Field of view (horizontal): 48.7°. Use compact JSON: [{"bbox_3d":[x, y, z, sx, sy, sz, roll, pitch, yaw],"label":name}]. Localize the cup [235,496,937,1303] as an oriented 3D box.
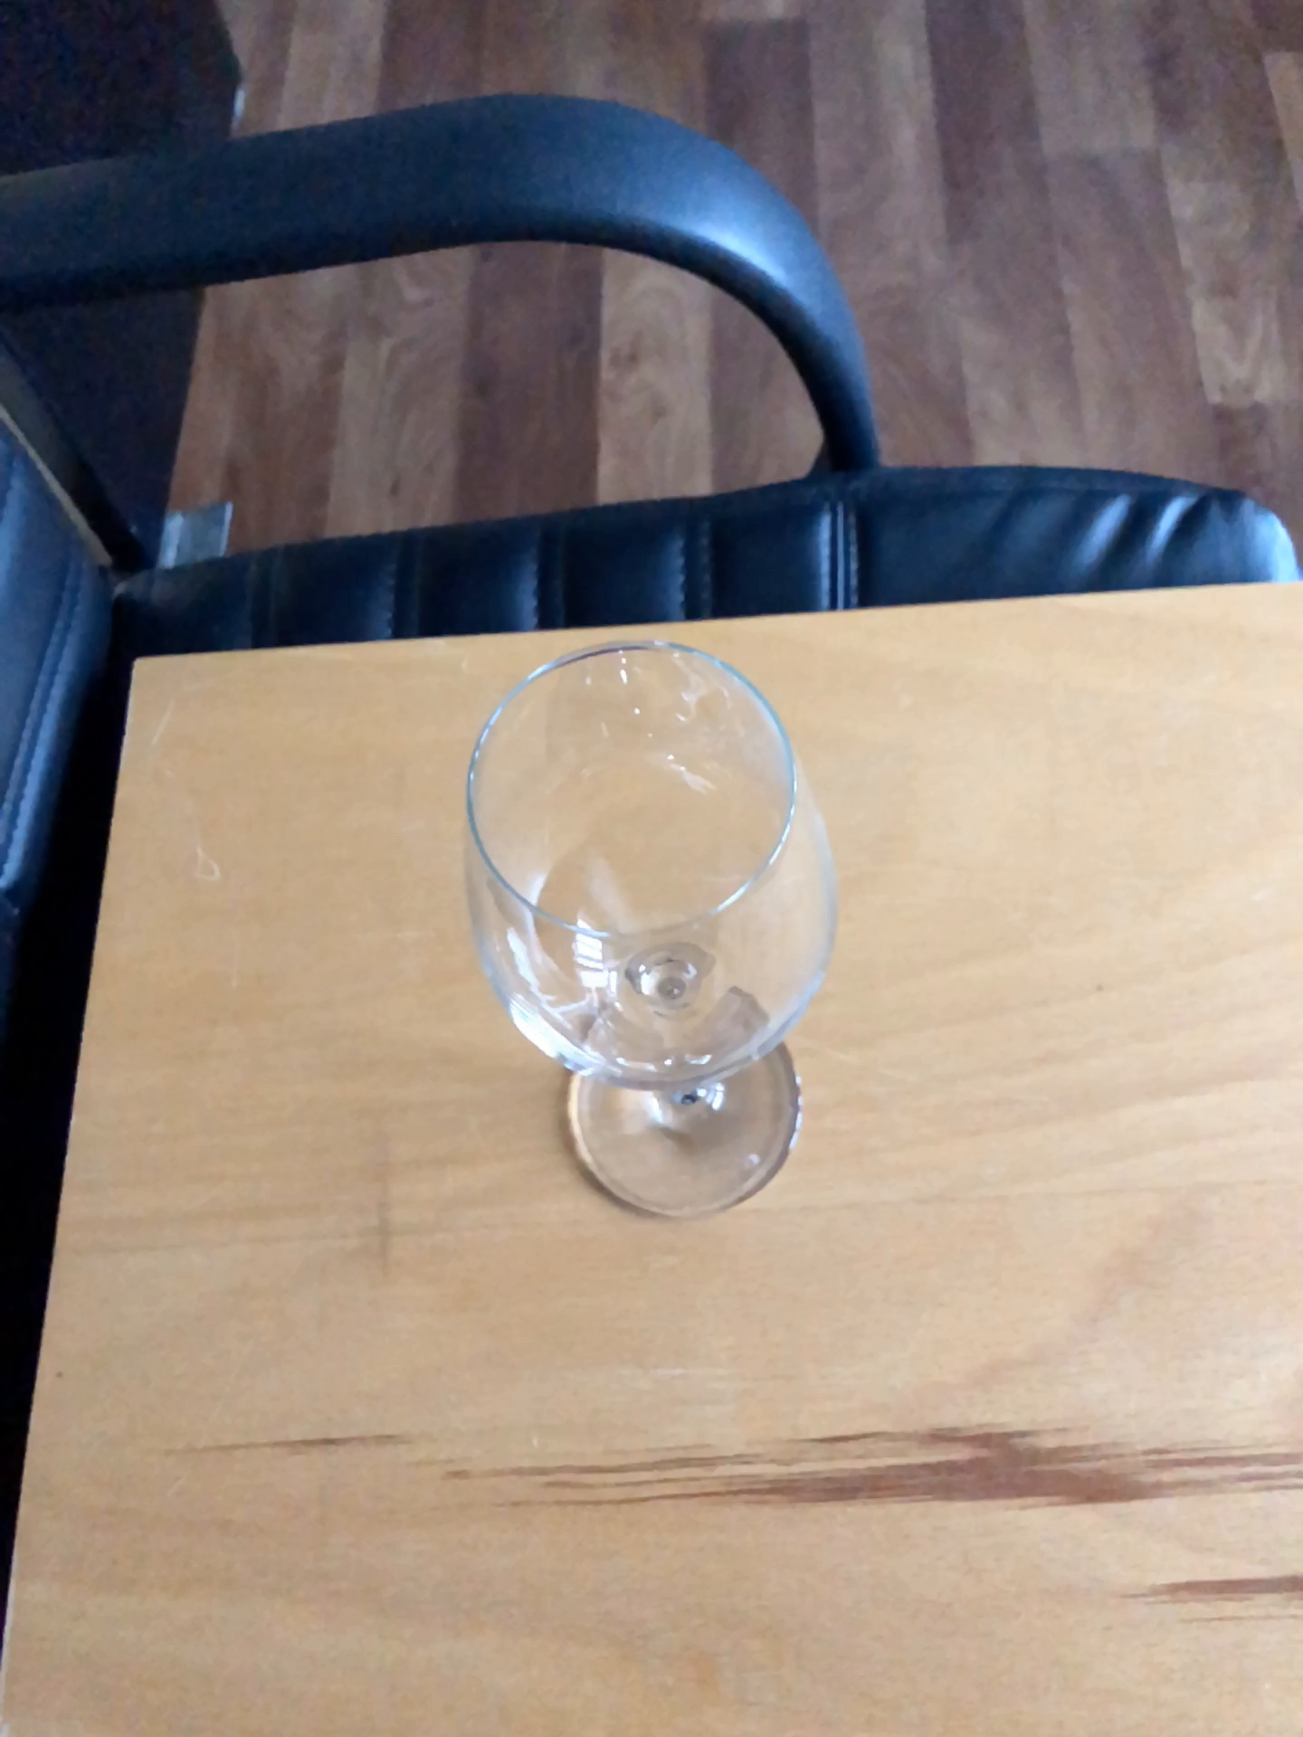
[{"bbox_3d":[-0.004,0.028,0.348,0.089,0.218,0.090,-1,66,3],"label":"cup"}]
